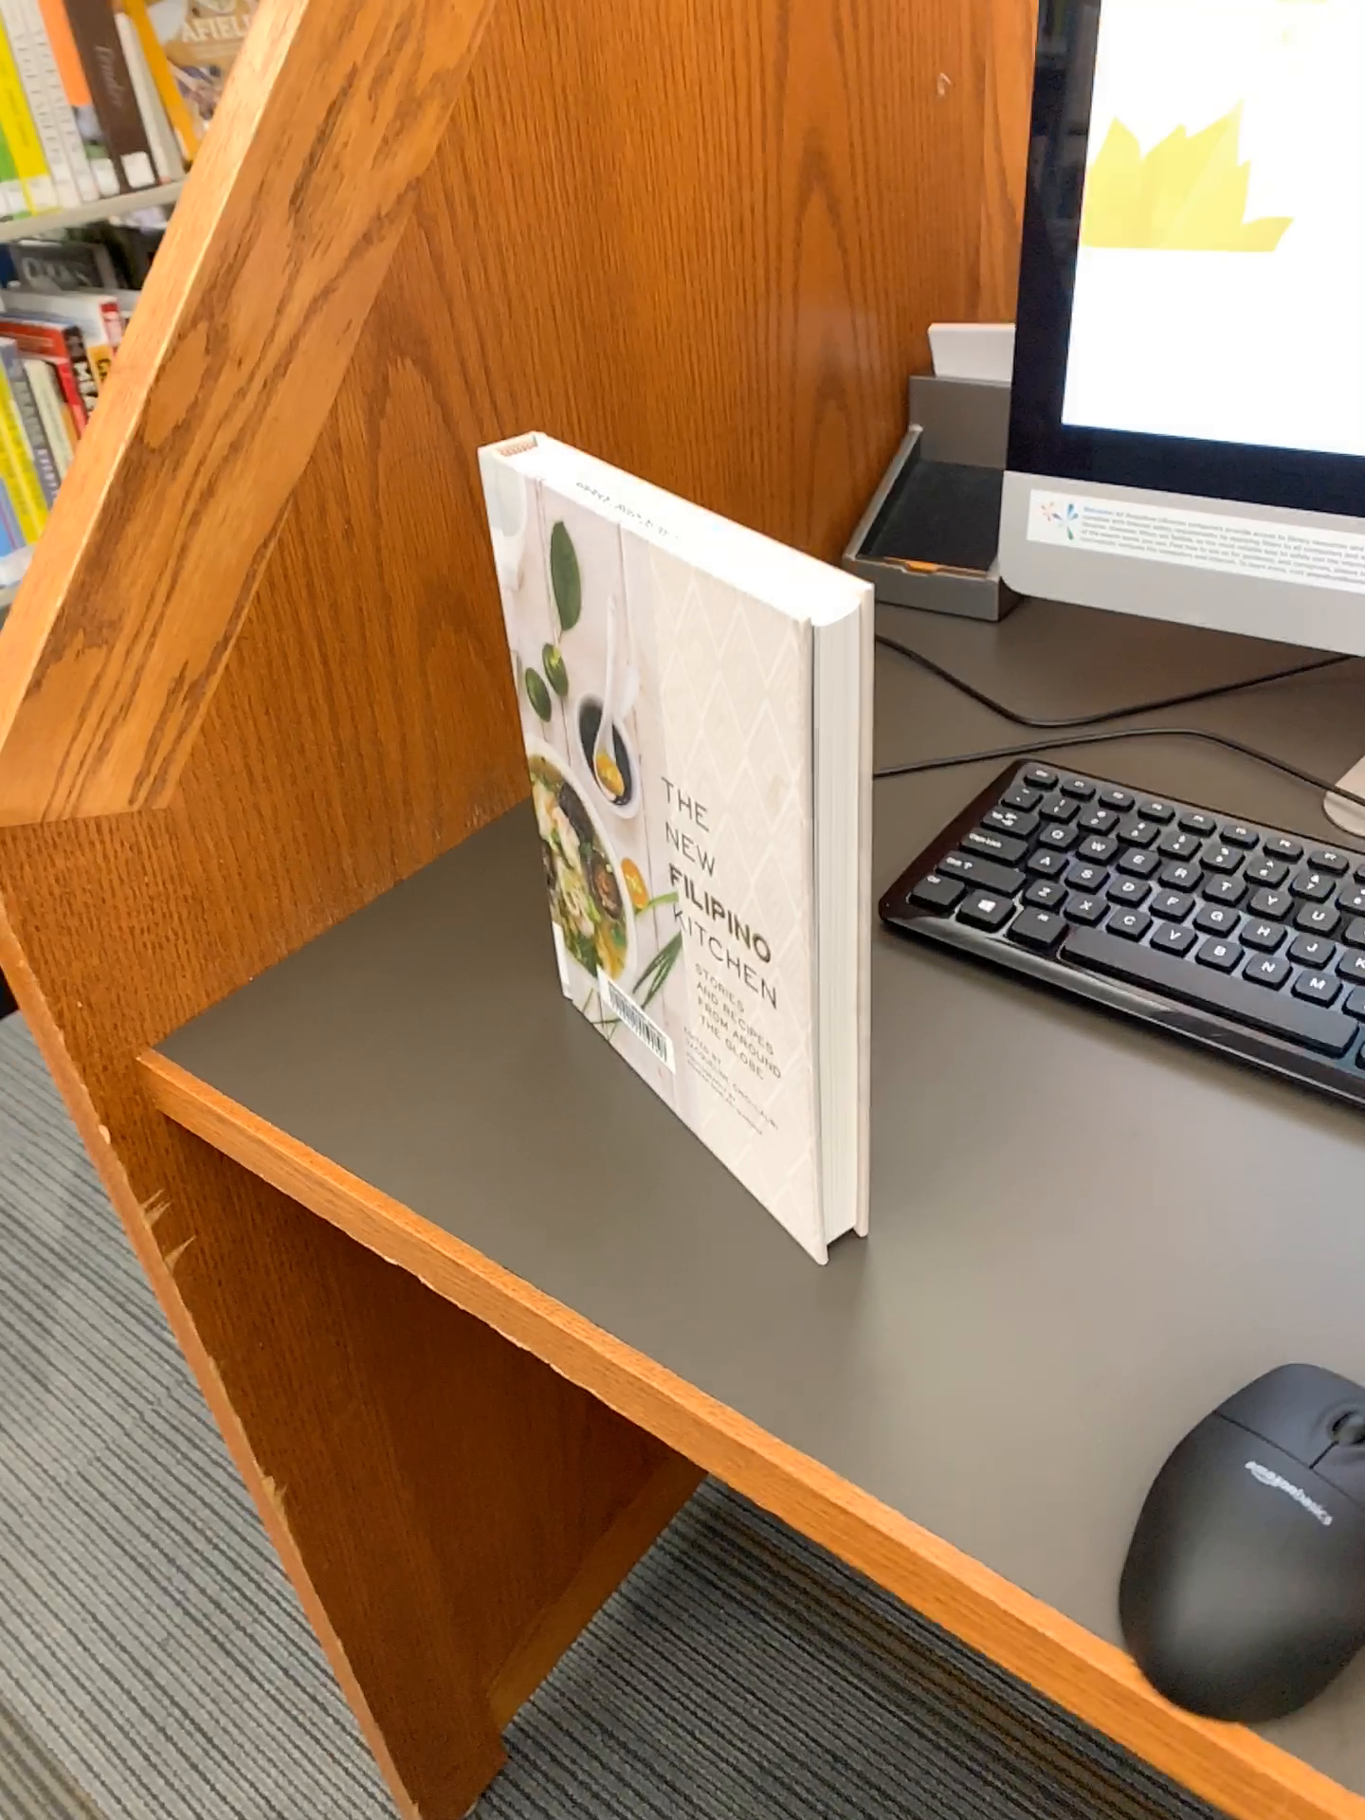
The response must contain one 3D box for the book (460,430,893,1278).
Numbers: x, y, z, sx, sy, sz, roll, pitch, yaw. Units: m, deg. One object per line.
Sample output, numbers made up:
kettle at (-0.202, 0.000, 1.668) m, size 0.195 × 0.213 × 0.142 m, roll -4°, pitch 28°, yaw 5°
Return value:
book at (-0.002, -0.022, 0.470) m, size 0.030 × 0.229 × 0.193 m, roll -23°, pitch 38°, yaw -23°
